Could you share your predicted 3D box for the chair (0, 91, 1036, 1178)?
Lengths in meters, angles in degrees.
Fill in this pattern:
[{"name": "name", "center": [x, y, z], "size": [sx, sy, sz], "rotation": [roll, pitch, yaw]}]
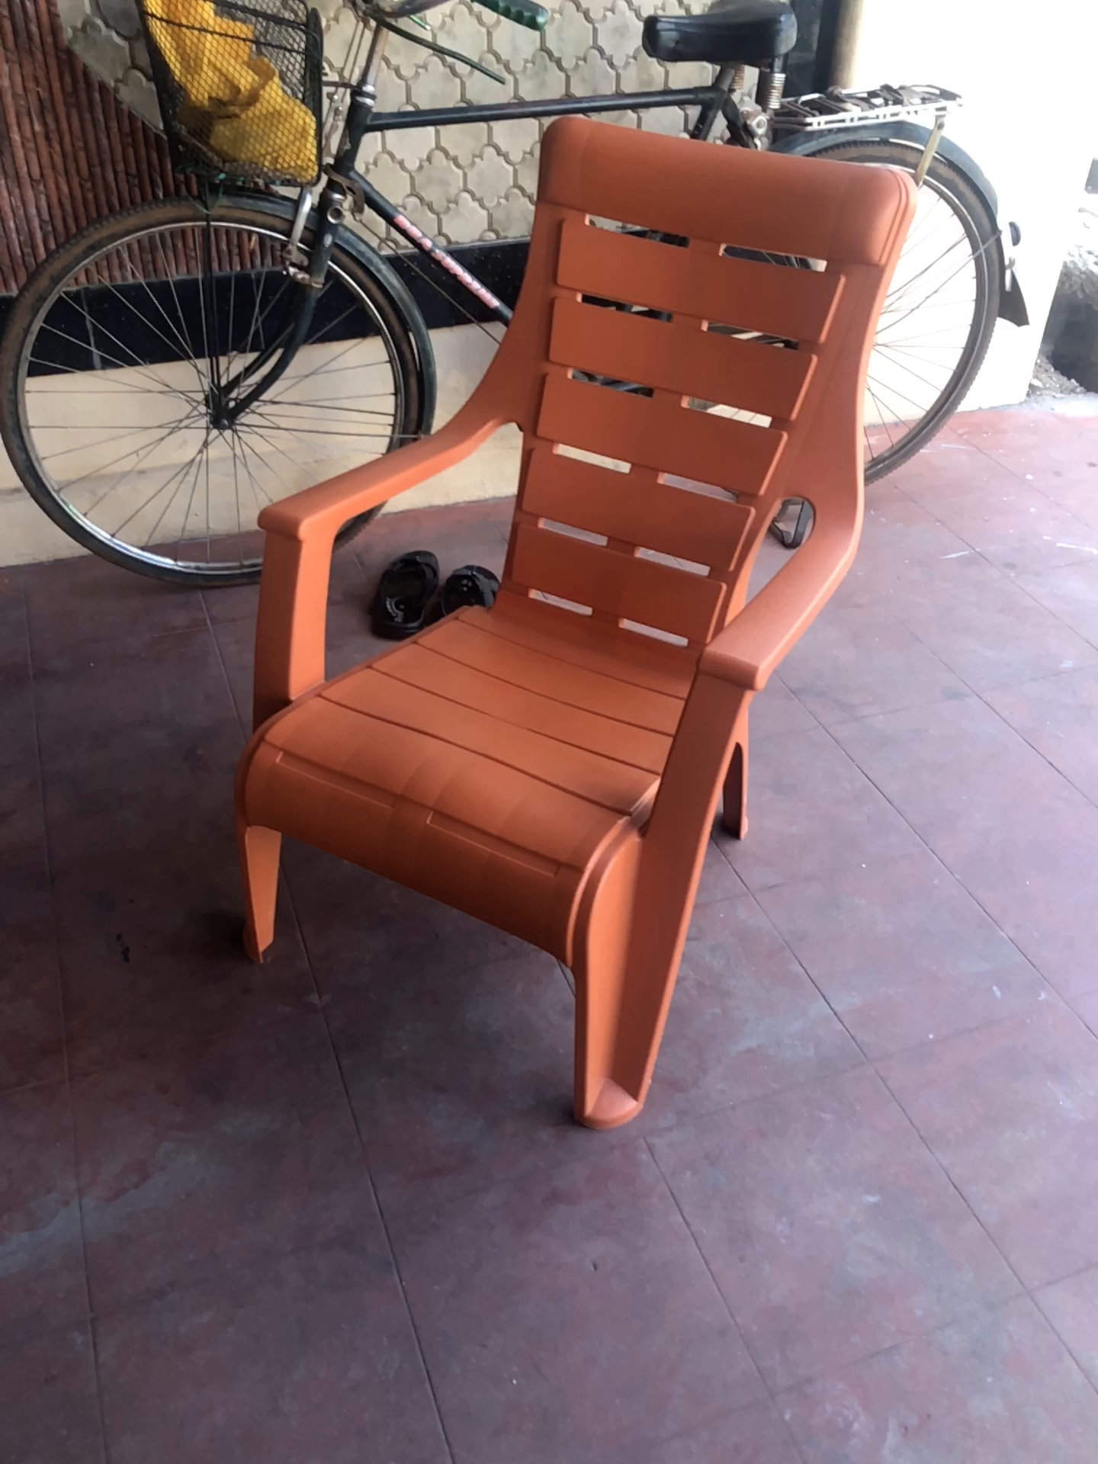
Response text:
[{"name": "chair", "center": [0.013, -0.175, 1.353], "size": [0.690, 0.786, 0.764], "rotation": [19, 42, 21]}]
